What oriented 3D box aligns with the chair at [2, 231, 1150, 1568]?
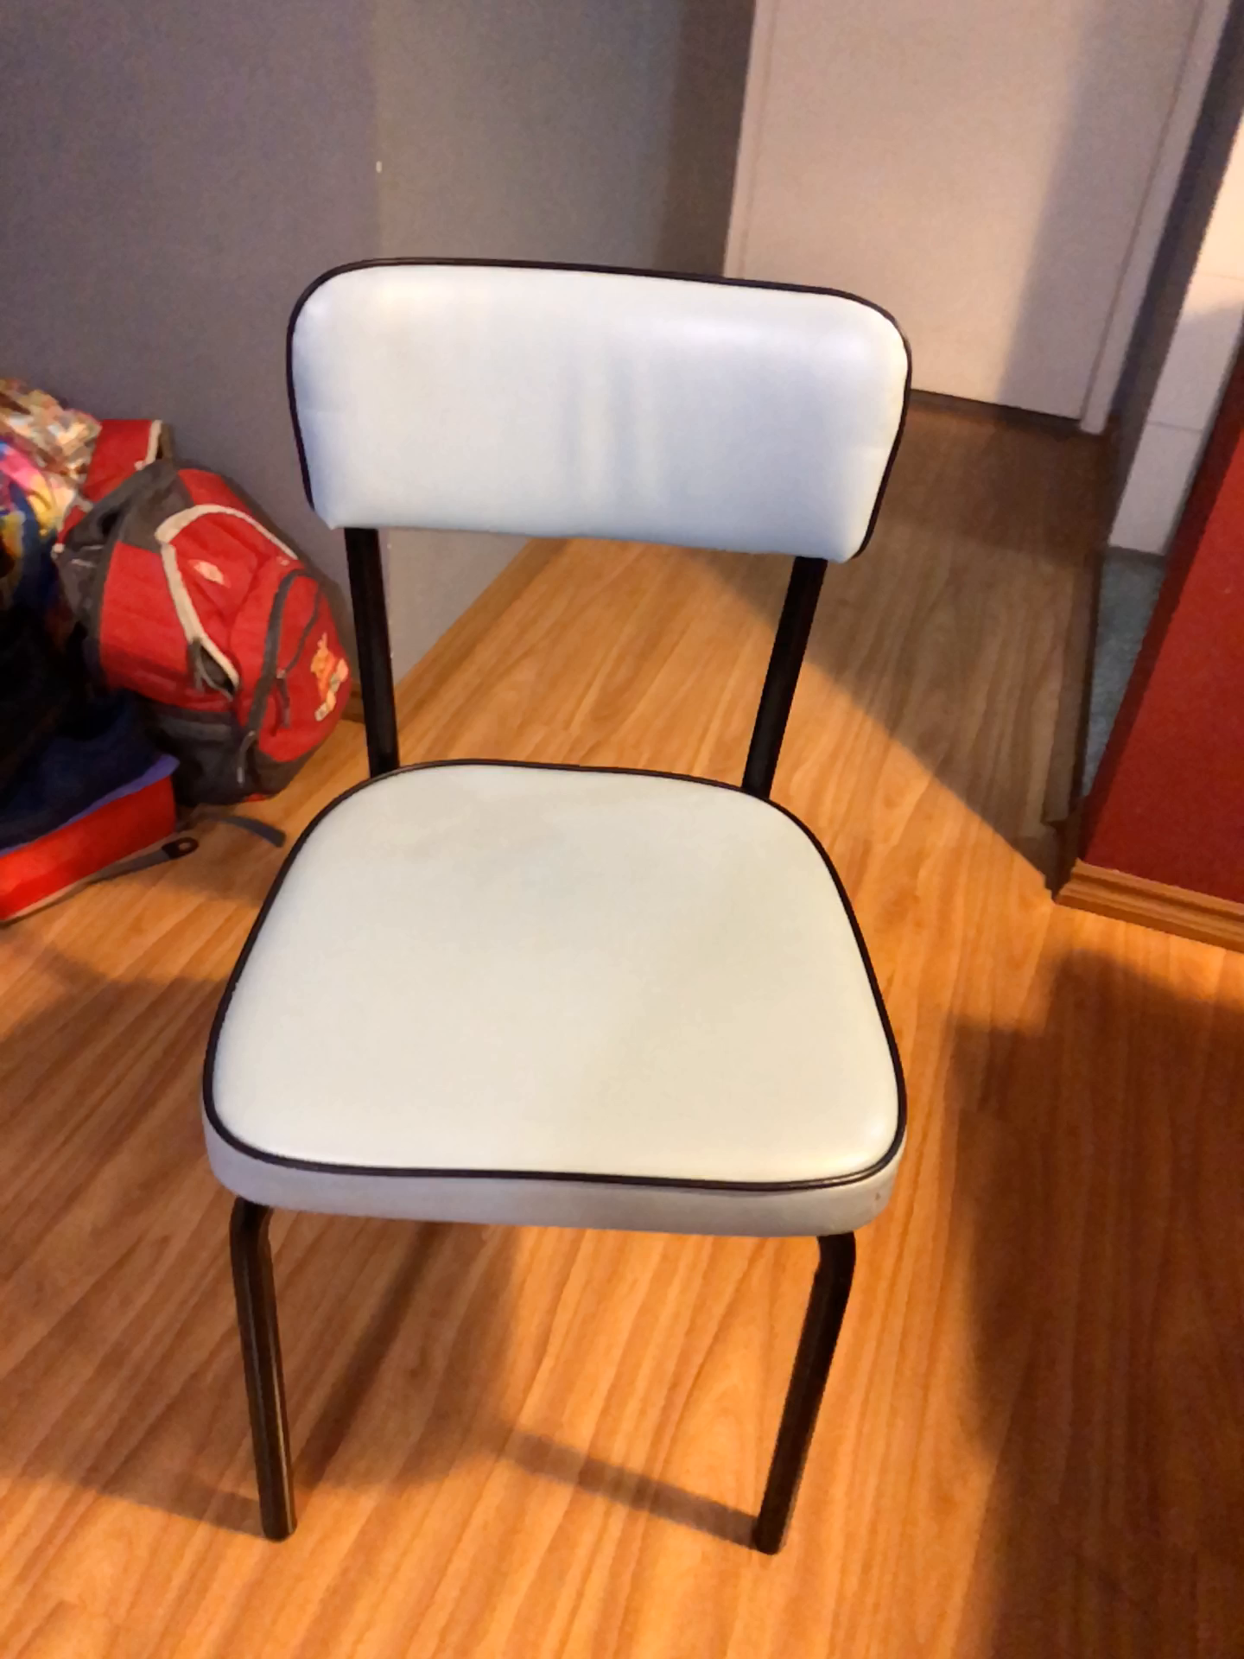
[{"bbox_3d":[-0.043,0.075,0.973,0.450,0.794,0.504,3,37,-3],"label":"chair"}]
